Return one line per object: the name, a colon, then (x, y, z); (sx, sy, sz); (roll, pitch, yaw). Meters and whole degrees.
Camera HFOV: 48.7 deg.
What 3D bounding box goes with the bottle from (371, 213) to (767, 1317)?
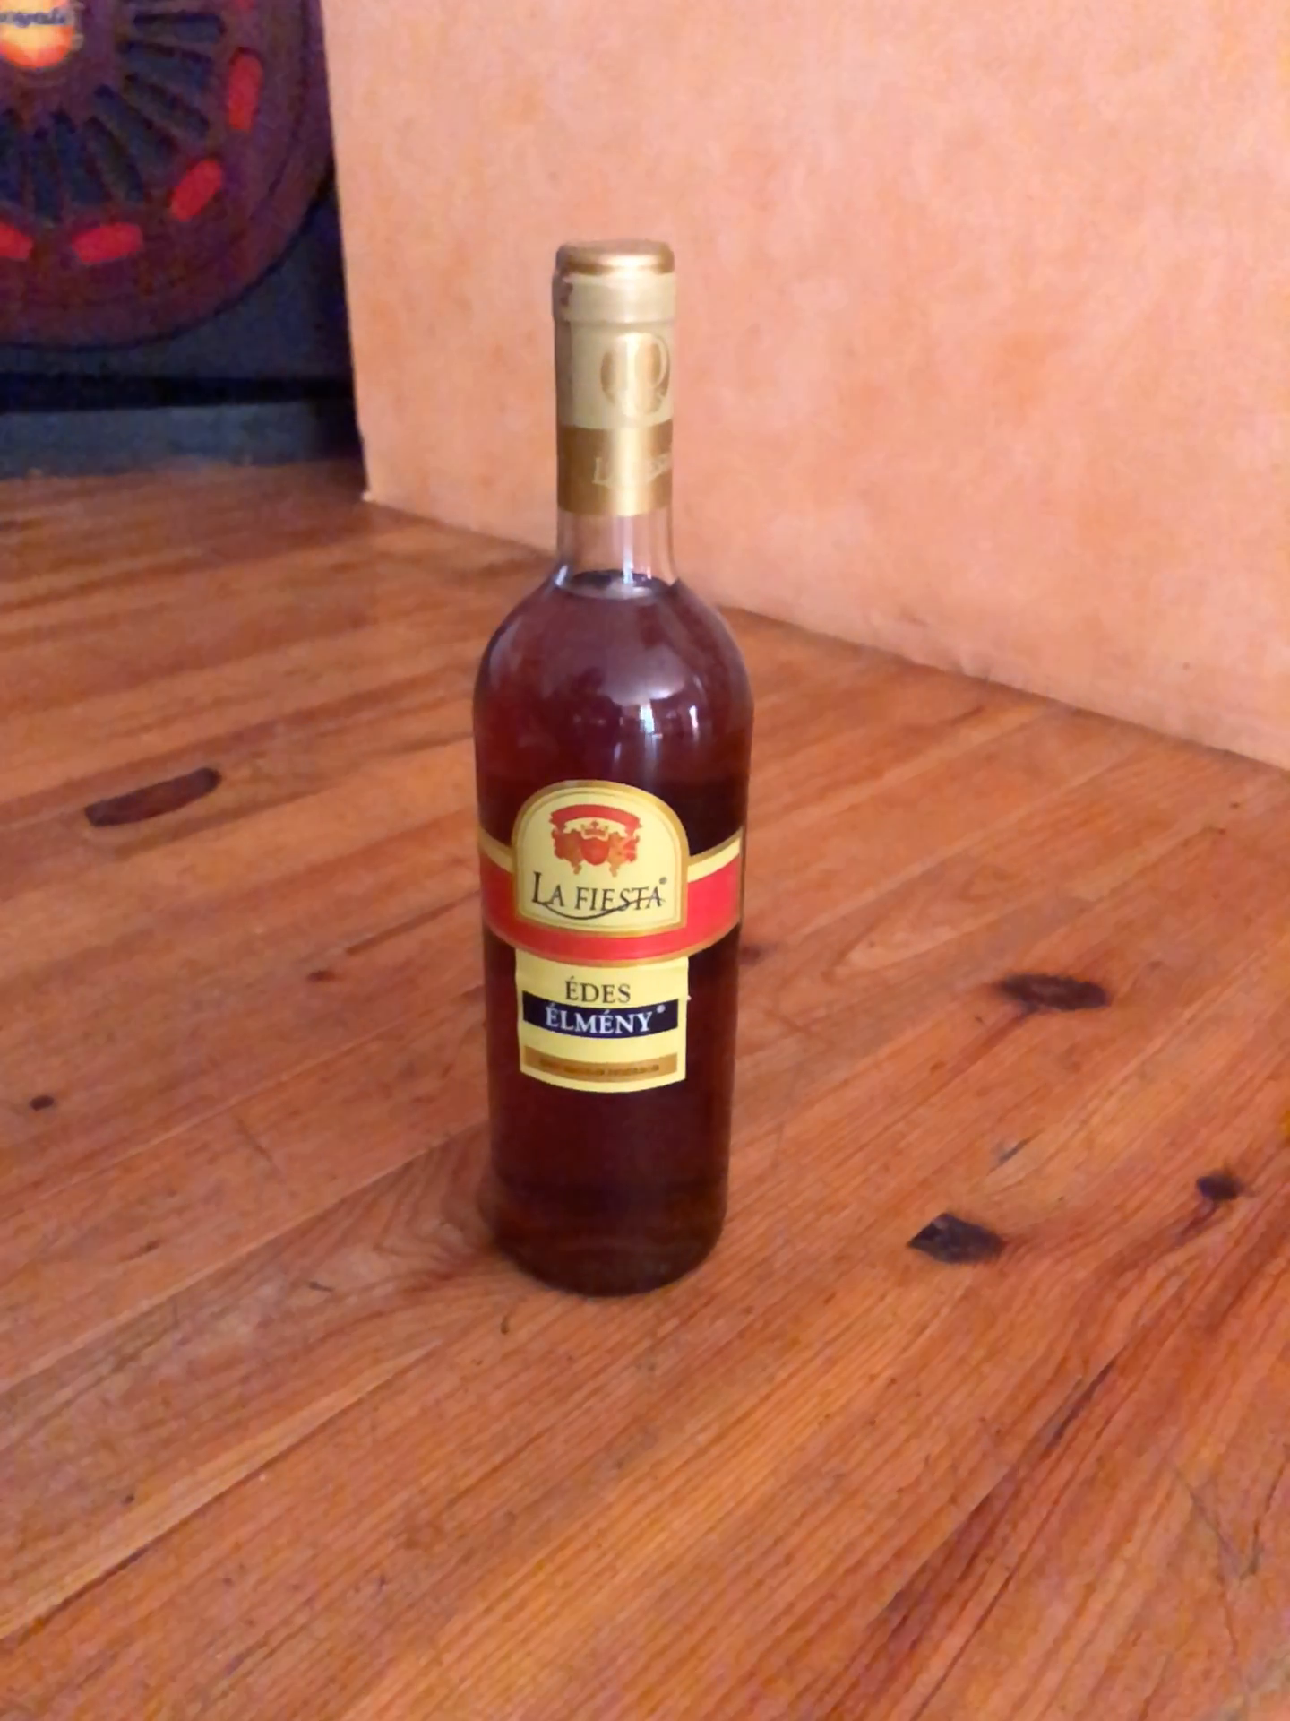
bottle: (-0.012, -0.016, 0.389); (0.080, 0.288, 0.080); (0, 27, 0)
